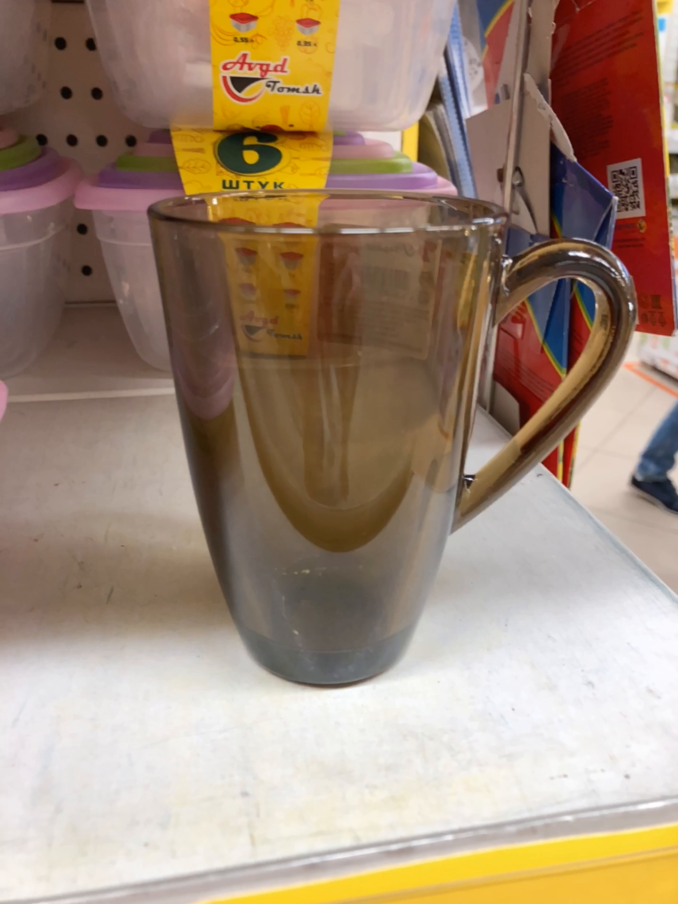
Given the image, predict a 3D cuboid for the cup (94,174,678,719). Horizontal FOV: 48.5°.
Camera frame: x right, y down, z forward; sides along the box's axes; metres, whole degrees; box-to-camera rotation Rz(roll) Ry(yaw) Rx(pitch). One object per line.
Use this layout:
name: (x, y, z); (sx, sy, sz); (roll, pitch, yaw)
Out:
cup: (0.008, -0.011, 0.184); (0.112, 0.096, 0.072); (-9, 27, -18)
